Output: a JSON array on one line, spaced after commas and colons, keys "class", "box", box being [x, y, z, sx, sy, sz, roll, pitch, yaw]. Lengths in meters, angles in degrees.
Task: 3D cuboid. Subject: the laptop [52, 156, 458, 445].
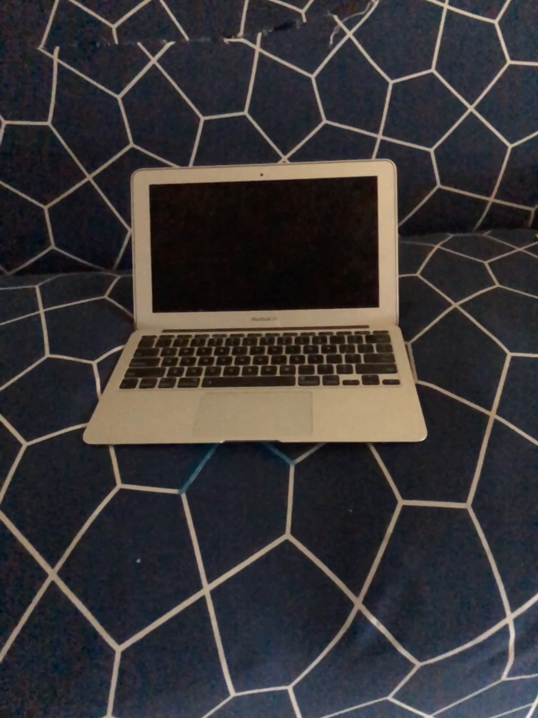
[{"class": "laptop", "box": [-0.006, -0.075, 0.563, 0.281, 0.156, 0.281, 0, 32, 3]}]
